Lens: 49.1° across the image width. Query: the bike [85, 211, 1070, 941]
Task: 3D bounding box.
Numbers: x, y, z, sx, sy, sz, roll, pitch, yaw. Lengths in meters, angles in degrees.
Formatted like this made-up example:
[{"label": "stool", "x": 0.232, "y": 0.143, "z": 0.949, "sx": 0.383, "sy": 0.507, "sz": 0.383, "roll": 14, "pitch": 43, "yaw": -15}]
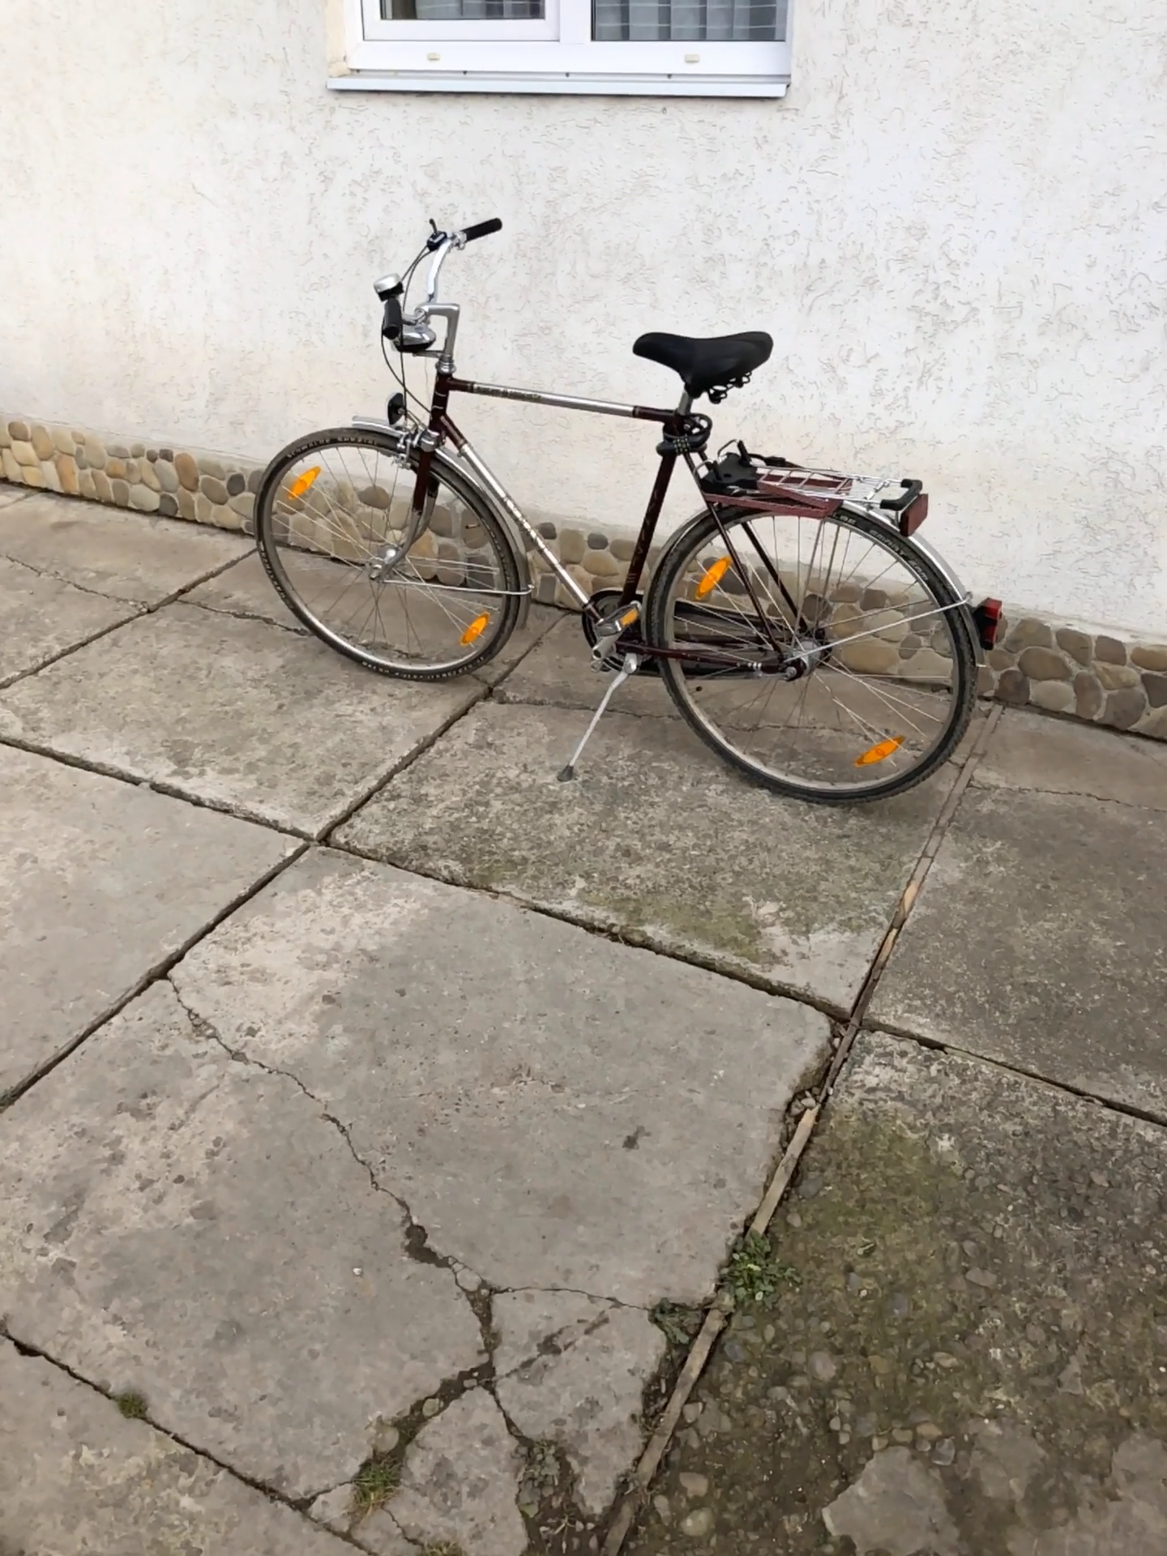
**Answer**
[{"label": "bike", "x": -0.061, "y": -0.502, "z": 2.608, "sx": 1.711, "sy": 1.054, "sz": 0.600, "roll": 16, "pitch": 34, "yaw": 25}]
